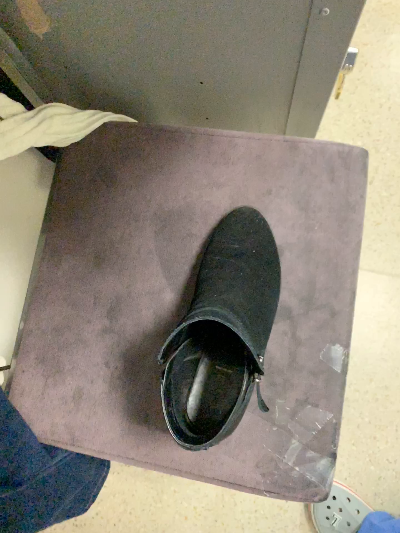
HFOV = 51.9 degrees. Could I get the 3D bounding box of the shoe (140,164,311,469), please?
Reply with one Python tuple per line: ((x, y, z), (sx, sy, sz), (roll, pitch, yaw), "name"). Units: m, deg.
((0.031, 0.043, 0.406), (0.100, 0.138, 0.235), (10, 81, 8), "shoe")
